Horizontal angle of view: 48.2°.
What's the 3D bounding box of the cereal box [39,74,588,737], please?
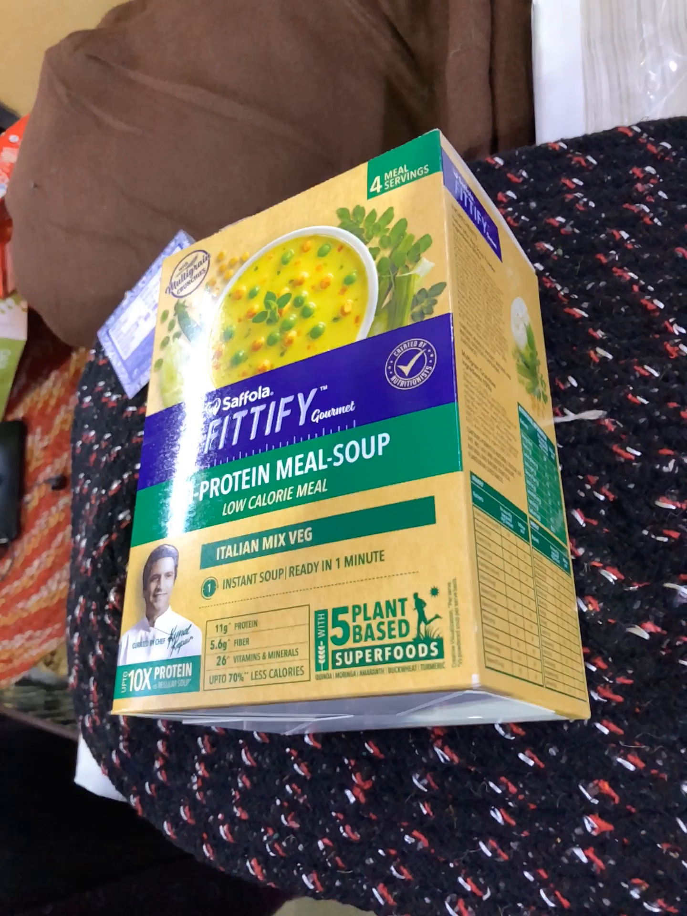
[{"bbox_3d":[-0.008,-0.004,0.248,0.130,0.080,0.170,-14,63,30],"label":"cereal box"}]
